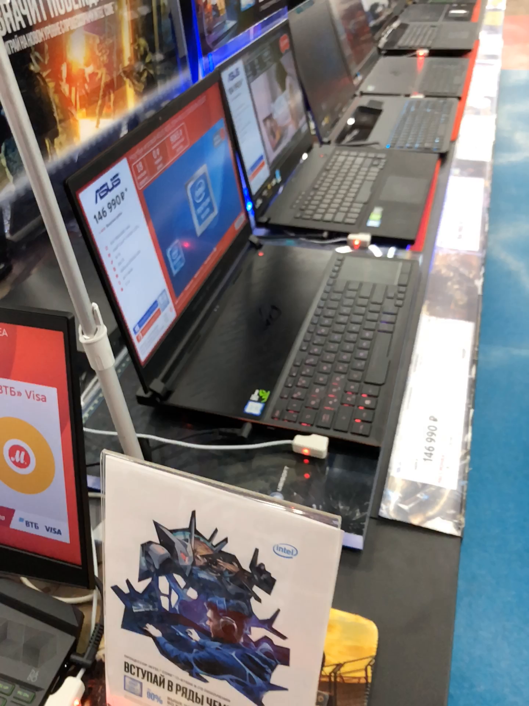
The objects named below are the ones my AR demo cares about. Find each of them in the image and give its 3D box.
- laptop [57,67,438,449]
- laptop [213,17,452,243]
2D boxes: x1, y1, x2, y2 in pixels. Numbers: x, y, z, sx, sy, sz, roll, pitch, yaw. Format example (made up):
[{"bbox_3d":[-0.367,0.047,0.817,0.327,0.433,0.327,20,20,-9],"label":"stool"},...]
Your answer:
[{"bbox_3d":[0.022,-0.134,0.649,0.278,0.241,0.351,9,40,15],"label":"laptop"},{"bbox_3d":[0.128,-0.390,0.976,0.301,0.219,0.343,11,42,17],"label":"laptop"}]
